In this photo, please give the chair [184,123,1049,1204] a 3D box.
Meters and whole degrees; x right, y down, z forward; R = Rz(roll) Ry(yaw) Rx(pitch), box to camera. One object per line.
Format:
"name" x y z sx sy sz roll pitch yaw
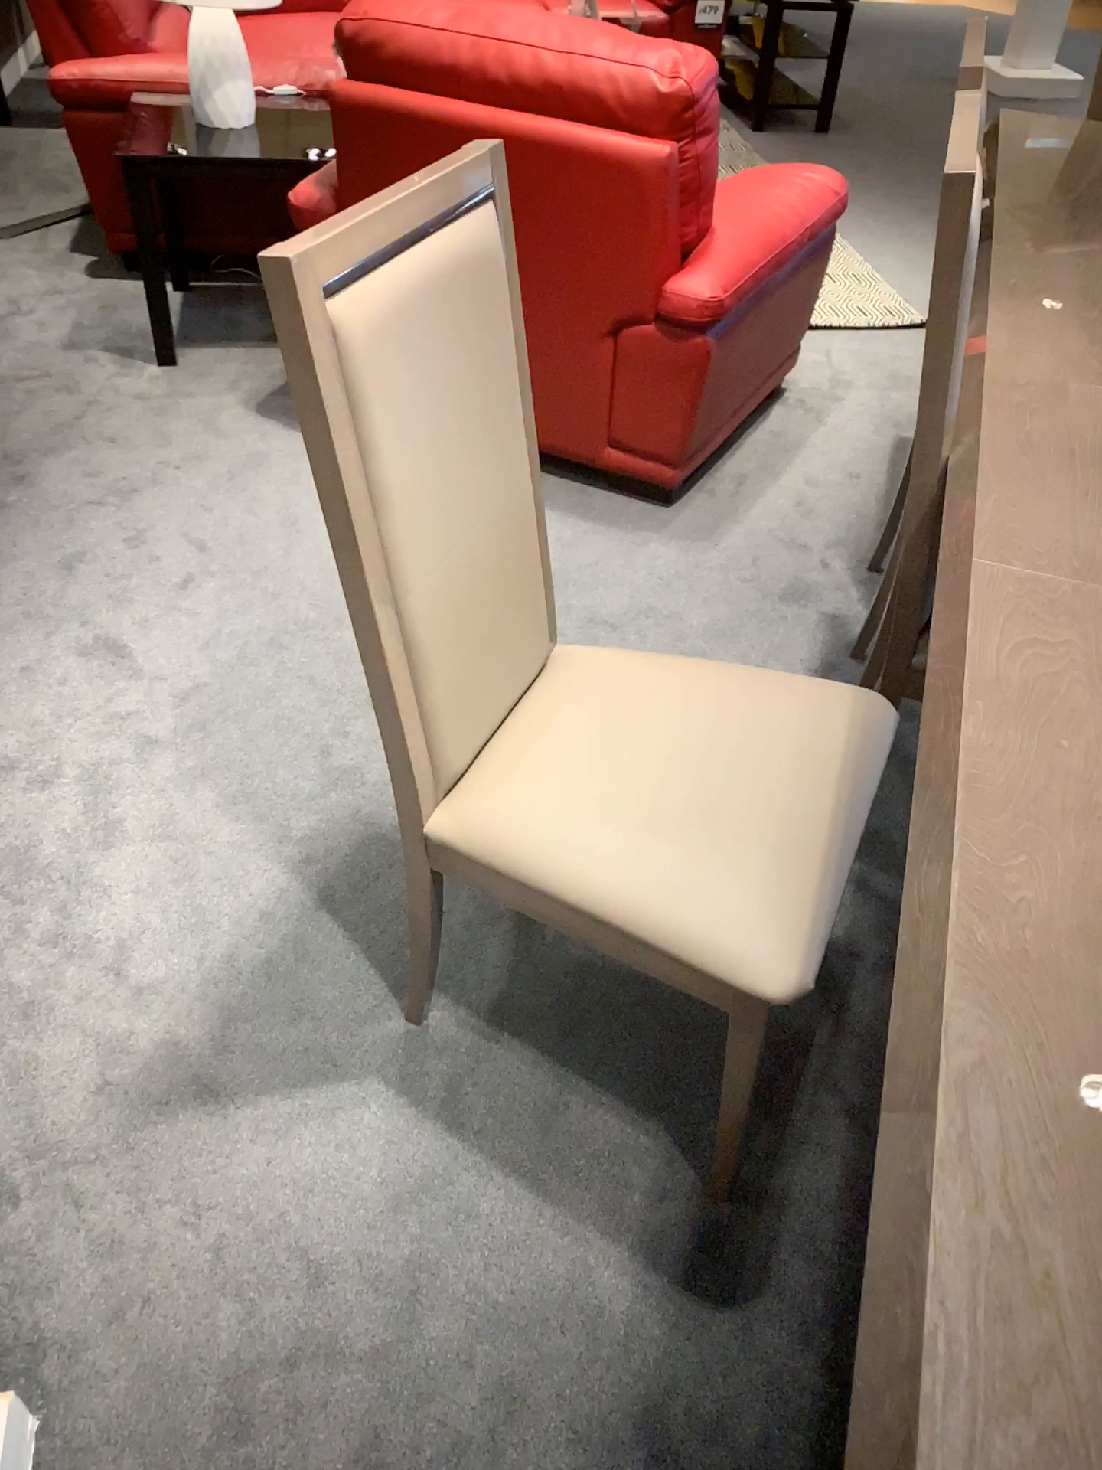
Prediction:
"chair" 0.078 -0.057 1.249 0.586 0.946 0.543 16 43 14
